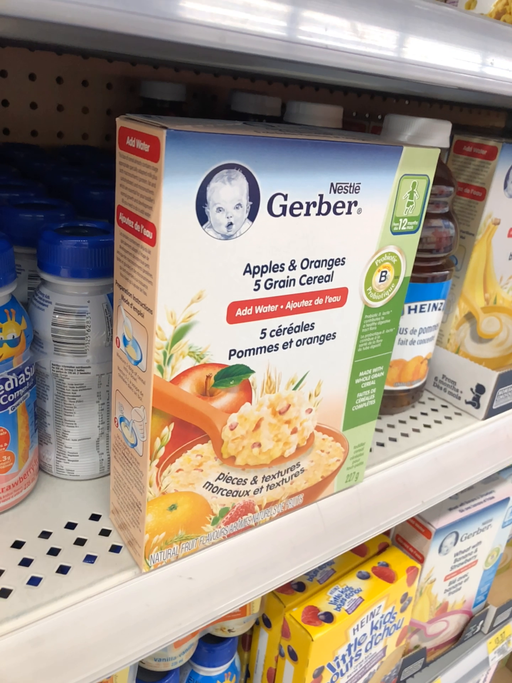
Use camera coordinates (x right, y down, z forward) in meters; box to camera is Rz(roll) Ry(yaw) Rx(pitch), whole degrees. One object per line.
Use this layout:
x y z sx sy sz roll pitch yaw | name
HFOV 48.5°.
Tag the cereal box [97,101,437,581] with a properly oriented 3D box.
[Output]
0.001 -0.002 0.280 0.140 0.199 0.050 -10 29 -37 | cereal box
